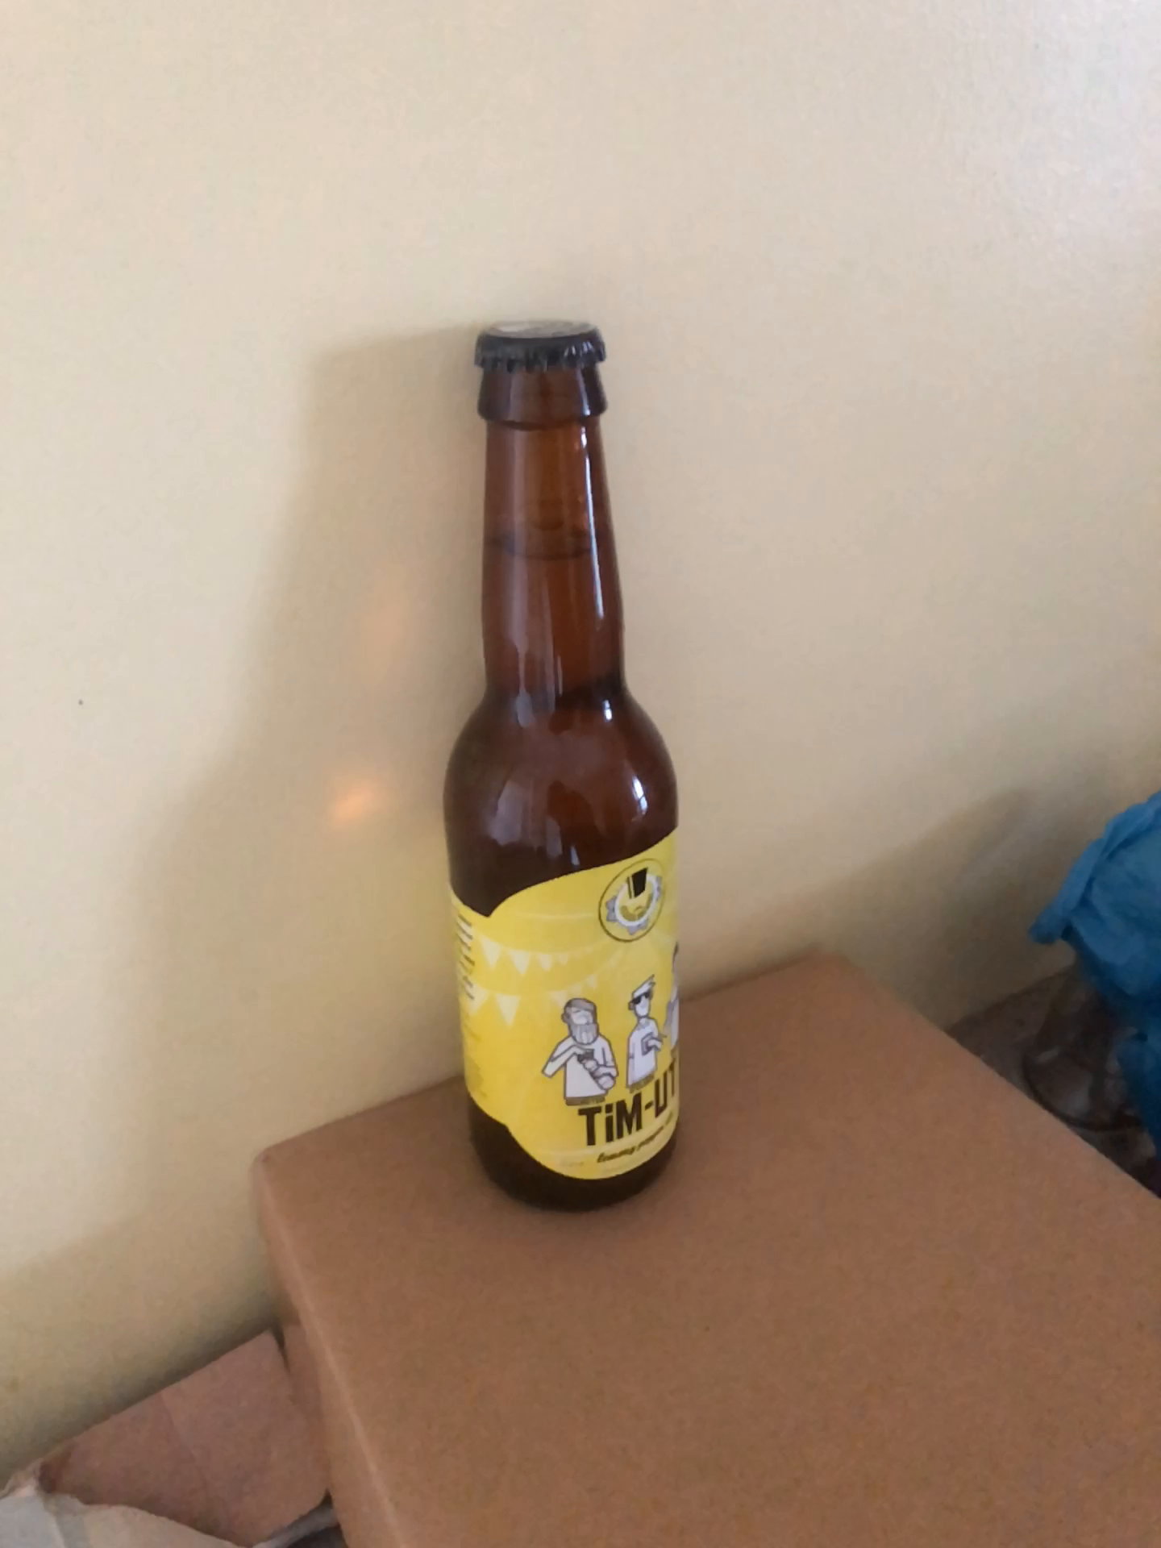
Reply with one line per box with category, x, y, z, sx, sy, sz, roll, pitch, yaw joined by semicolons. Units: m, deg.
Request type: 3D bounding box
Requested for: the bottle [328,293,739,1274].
bottle;-0.005;0.007;0.320;0.060;0.229;0.060;-4;26;2
